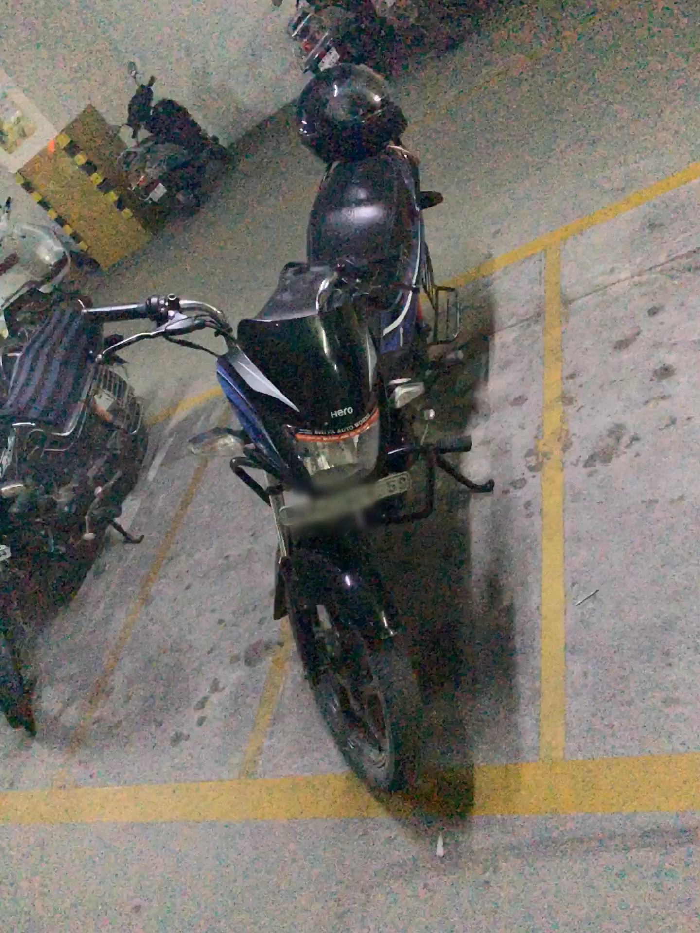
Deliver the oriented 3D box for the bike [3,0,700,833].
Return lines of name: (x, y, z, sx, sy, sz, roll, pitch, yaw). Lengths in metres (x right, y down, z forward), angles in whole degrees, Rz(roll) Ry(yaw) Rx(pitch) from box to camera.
bike: (0.127, -0.215, 1.833, 0.769, 1.155, 1.722, -23, 39, 27)
